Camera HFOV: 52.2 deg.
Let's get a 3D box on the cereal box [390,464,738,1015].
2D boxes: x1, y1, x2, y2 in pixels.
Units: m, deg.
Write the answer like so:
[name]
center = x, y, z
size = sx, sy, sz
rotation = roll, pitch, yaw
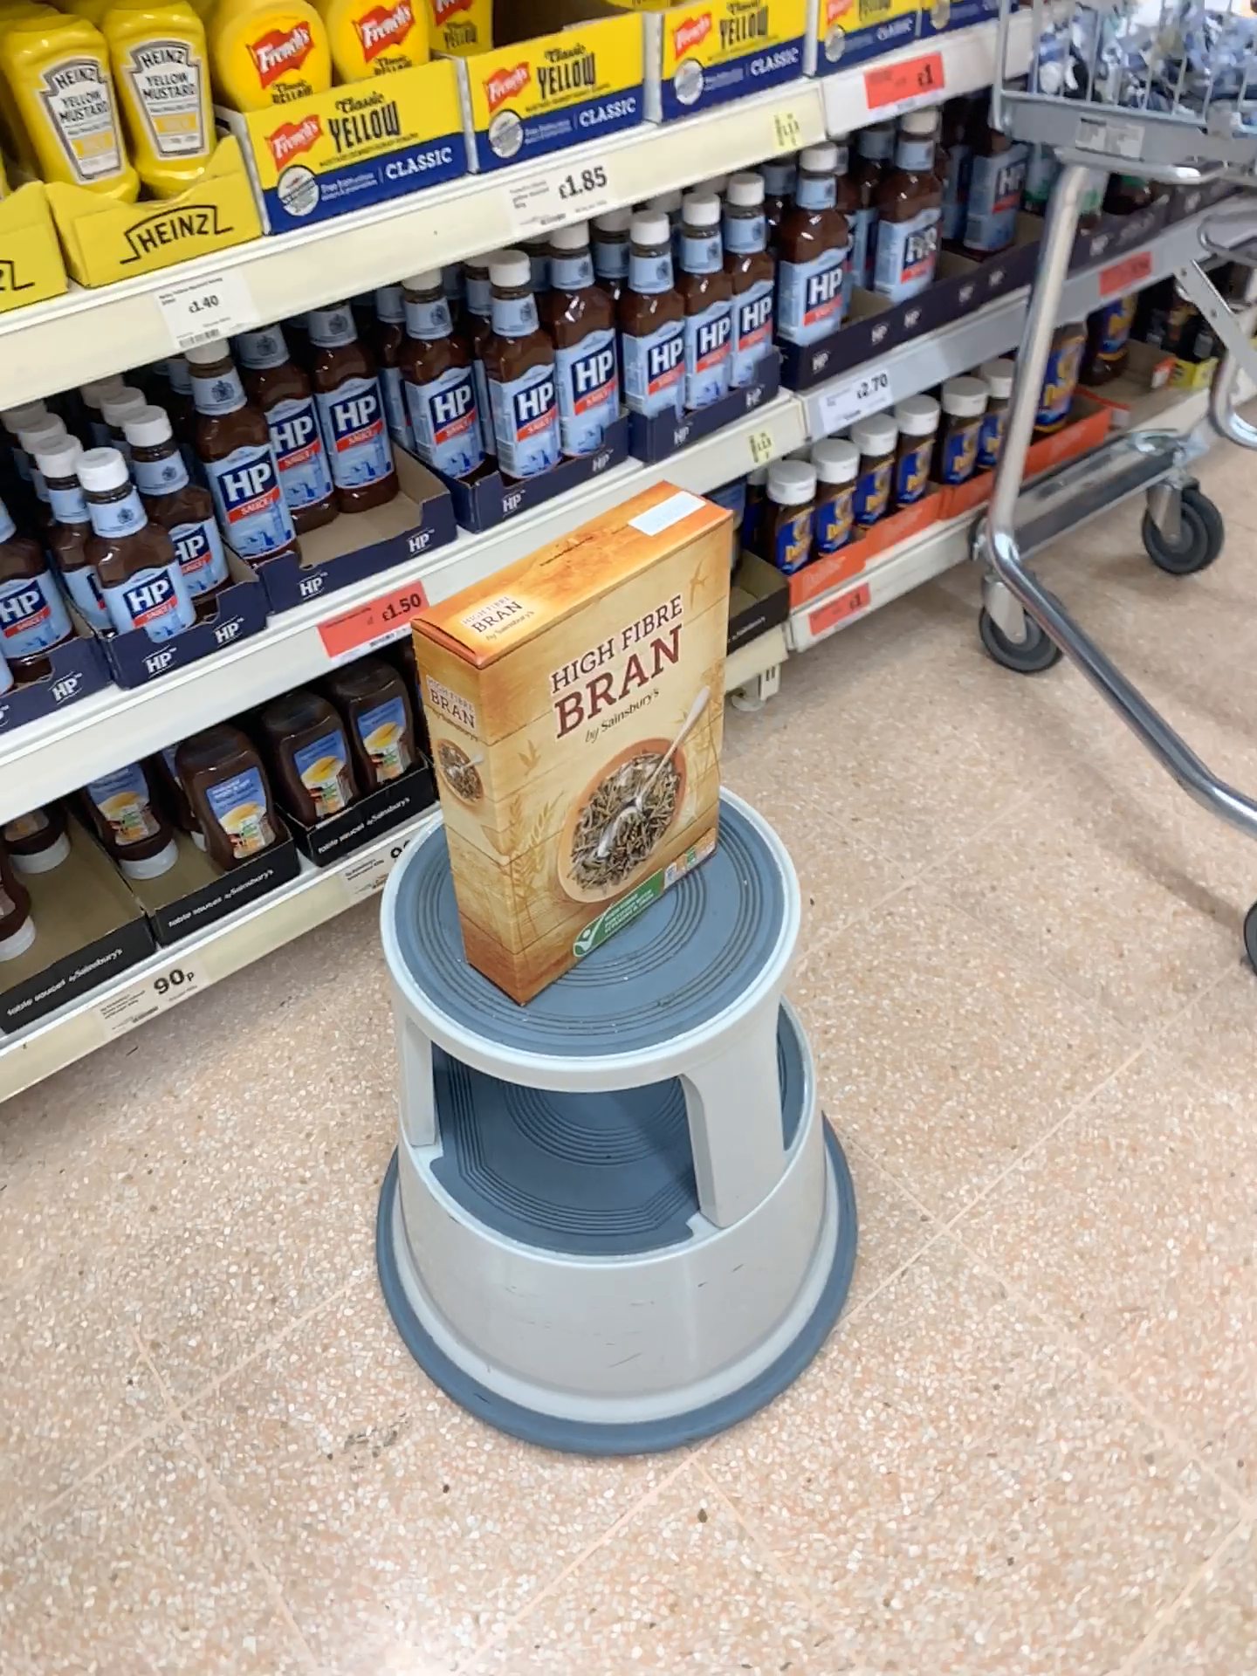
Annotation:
[cereal box]
center = -0.025, -0.053, 0.783
size = 0.060, 0.277, 0.201
rotation = 33, 55, 31
